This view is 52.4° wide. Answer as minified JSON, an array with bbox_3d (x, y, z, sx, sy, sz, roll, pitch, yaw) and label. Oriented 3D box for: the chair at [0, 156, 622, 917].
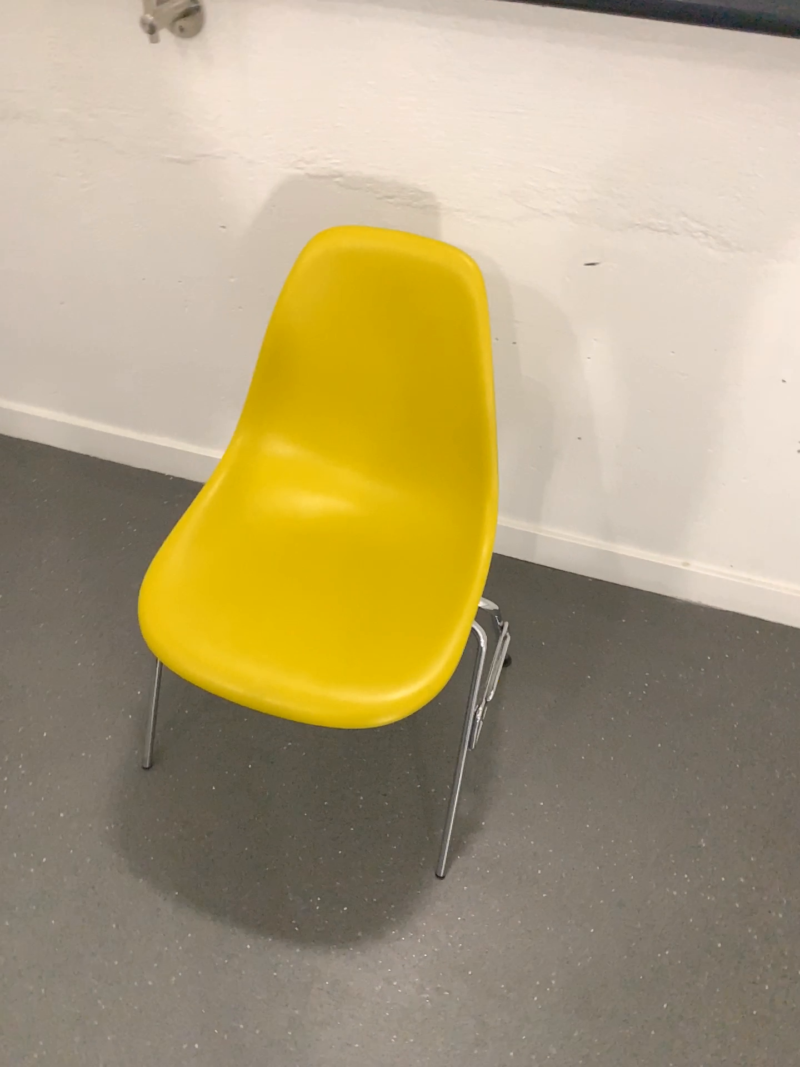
[{"bbox_3d":[-0.123,0.032,1.162,0.631,0.822,0.545,14,47,10],"label":"chair"}]
